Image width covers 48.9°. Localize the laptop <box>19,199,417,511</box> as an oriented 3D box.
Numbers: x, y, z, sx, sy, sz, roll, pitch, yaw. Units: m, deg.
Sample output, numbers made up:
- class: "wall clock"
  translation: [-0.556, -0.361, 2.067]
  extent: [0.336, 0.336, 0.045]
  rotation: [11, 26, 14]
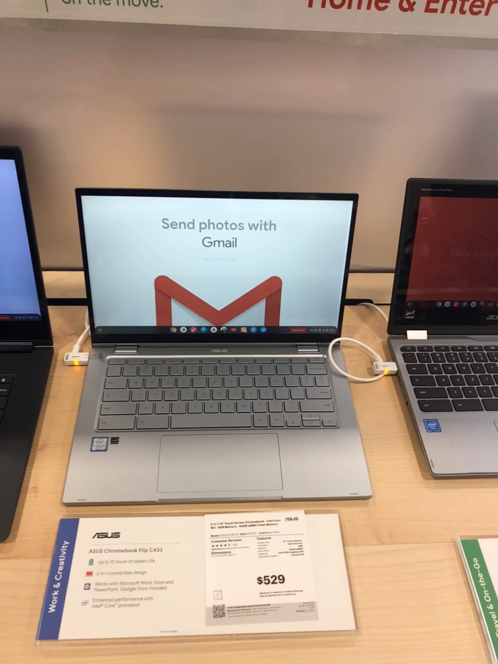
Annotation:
- class: "laptop"
  translation: [-0.028, 0.011, 0.588]
  extent: [0.309, 0.174, 0.283]
  rotation: [0, 47, -4]
